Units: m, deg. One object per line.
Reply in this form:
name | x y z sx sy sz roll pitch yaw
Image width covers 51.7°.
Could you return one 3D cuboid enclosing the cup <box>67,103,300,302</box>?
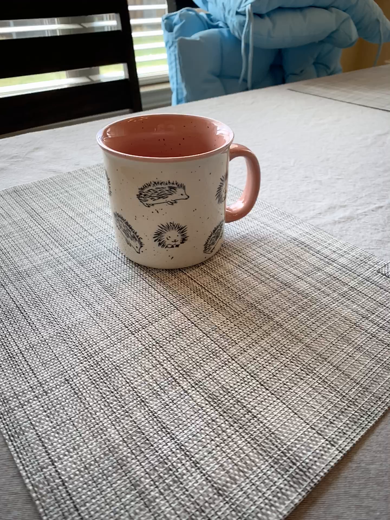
cup | -0.012 -0.063 0.360 0.150 0.106 0.121 -19 40 -26
